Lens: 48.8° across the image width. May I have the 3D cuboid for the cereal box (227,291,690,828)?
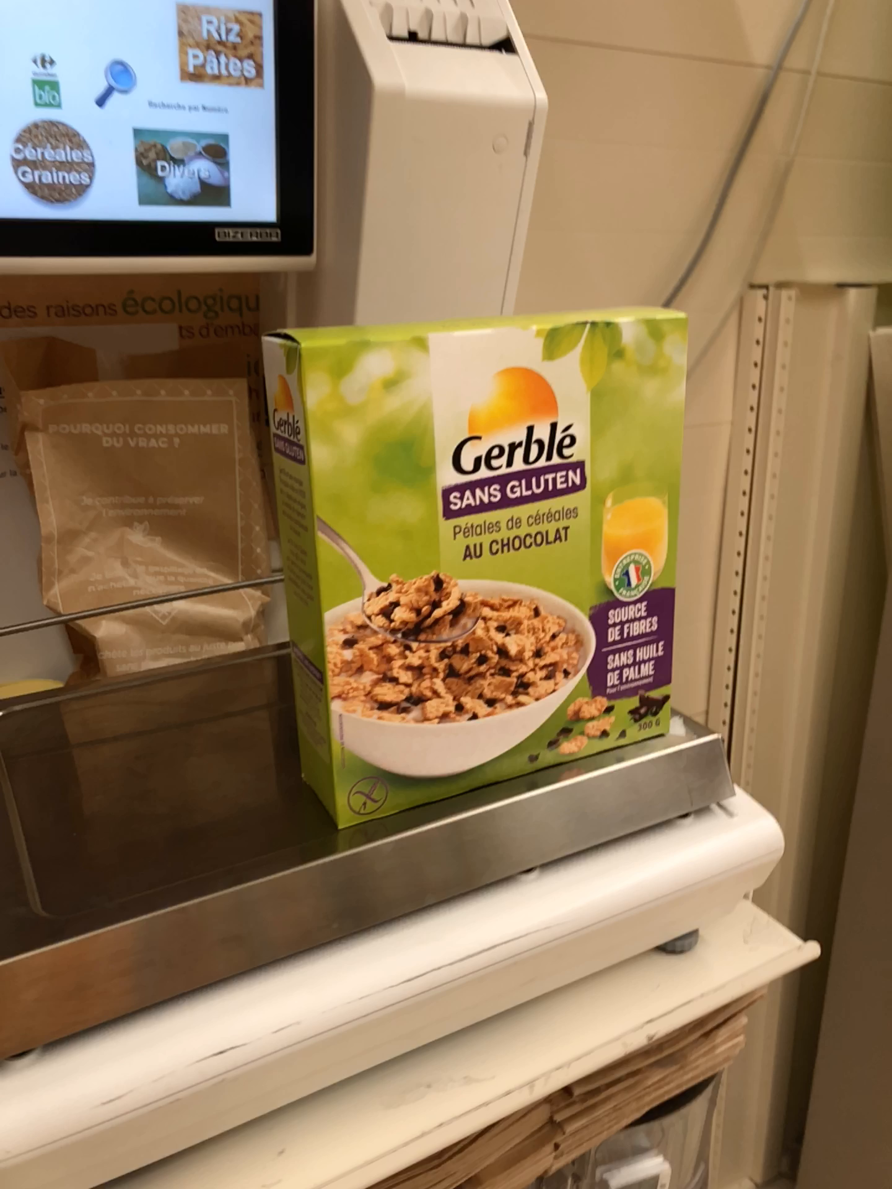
[{"bbox_3d":[0.014,-0.025,0.474,0.201,0.219,0.060,-12,22,-24],"label":"cereal box"}]
